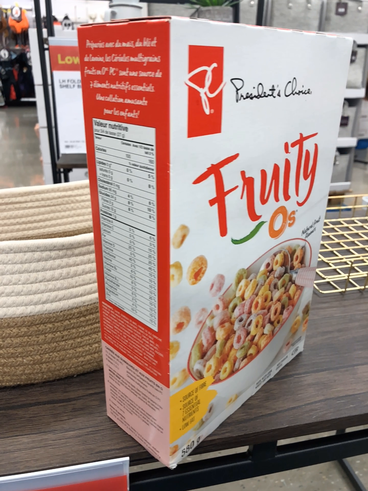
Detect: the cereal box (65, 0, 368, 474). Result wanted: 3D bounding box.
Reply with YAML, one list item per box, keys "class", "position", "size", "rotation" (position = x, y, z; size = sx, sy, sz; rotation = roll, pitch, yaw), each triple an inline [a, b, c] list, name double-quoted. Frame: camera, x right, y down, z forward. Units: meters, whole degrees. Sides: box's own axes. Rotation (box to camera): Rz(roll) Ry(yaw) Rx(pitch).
- class: "cereal box"
  position: [0.041, -0.019, 0.316]
  size: [0.080, 0.279, 0.220]
  rotation: [21, 31, 38]
